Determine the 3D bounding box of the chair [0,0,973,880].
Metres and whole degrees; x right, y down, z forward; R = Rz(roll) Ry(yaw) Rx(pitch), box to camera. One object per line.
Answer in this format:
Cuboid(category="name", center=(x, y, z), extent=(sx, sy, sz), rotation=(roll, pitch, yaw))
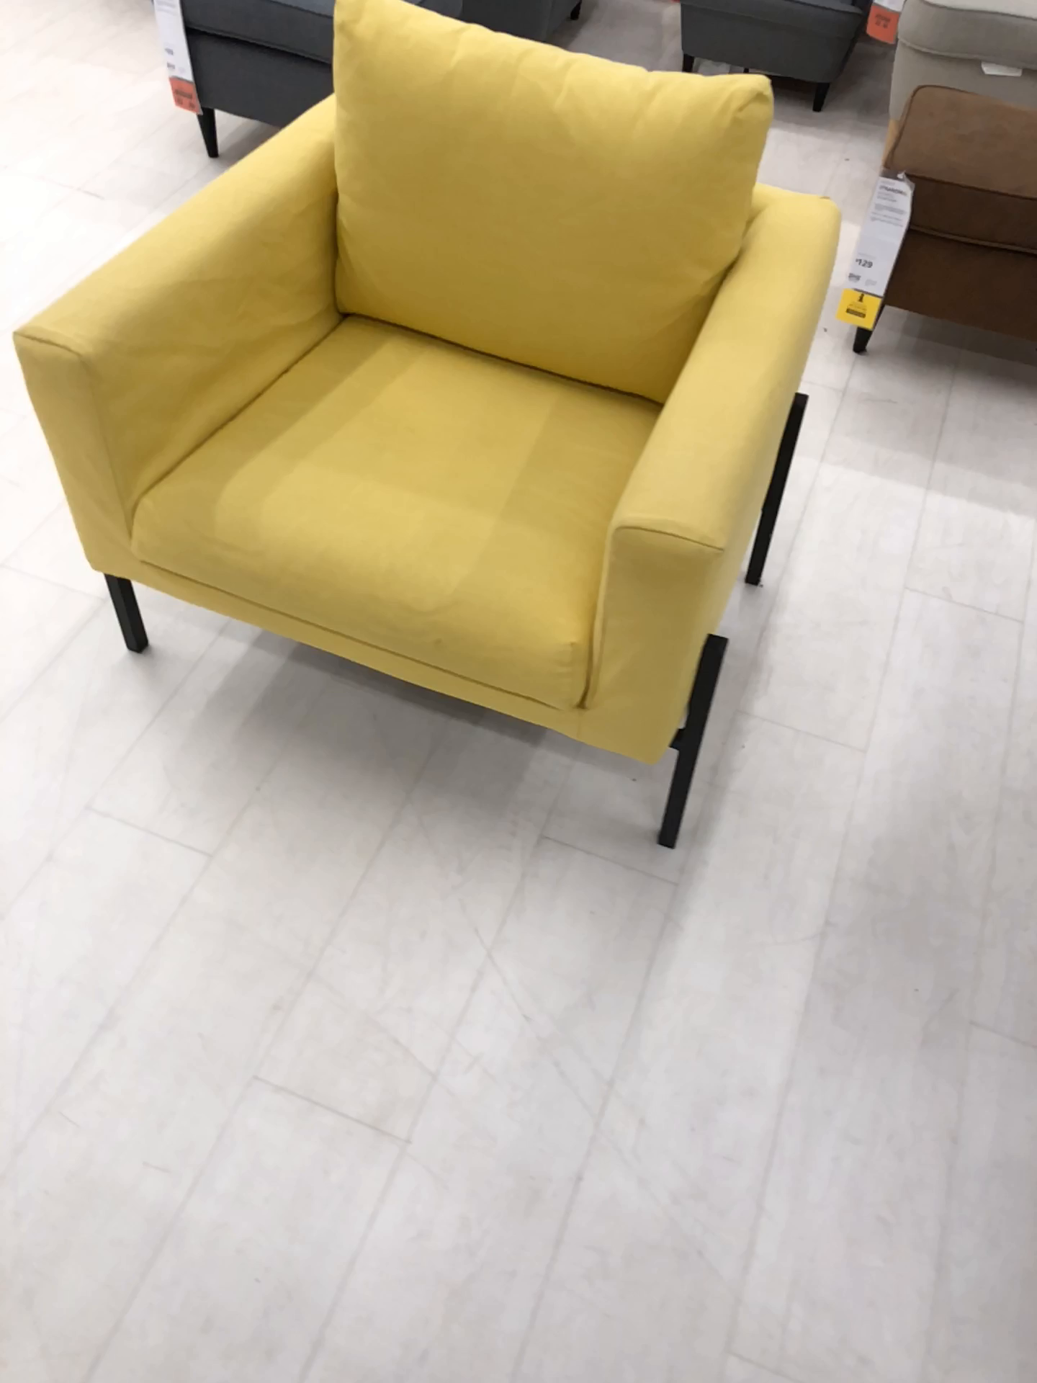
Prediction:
Cuboid(category="chair", center=(-0.066, -0.389, 1.519), extent=(0.980, 0.758, 0.692), rotation=(19, 52, 11))
